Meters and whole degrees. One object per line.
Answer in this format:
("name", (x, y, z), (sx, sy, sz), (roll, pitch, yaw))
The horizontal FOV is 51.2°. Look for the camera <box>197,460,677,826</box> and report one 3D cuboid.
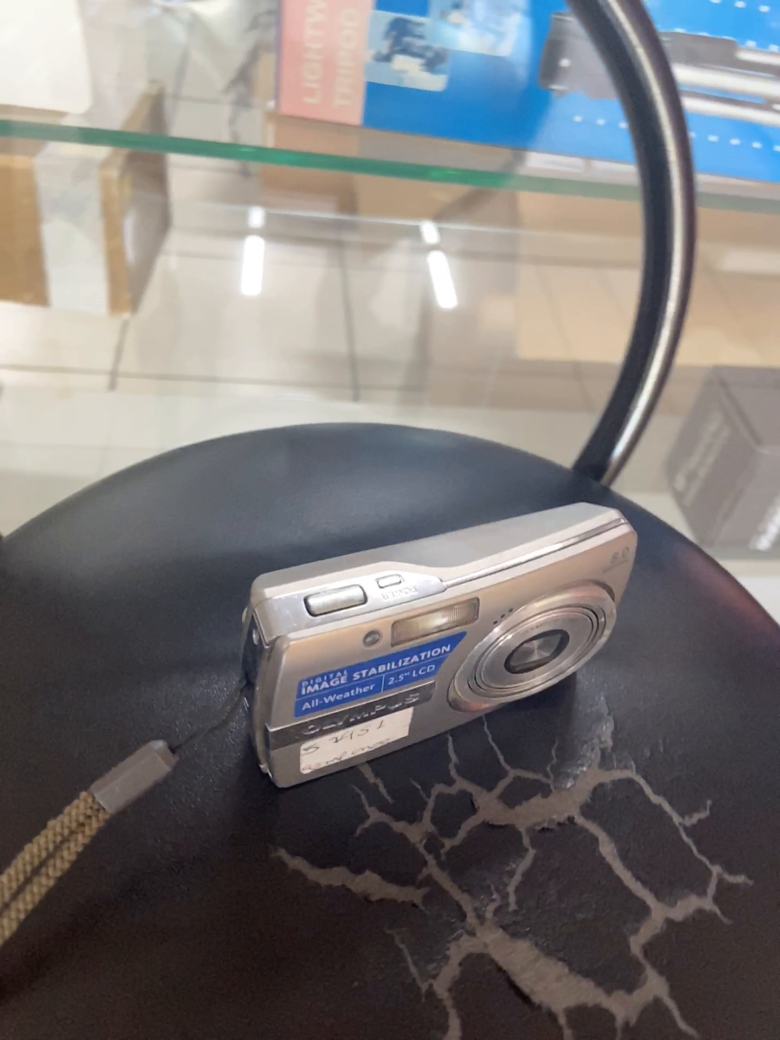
("camera", (0.009, 0.028, 0.193), (0.100, 0.060, 0.030), (-14, 50, -22))
